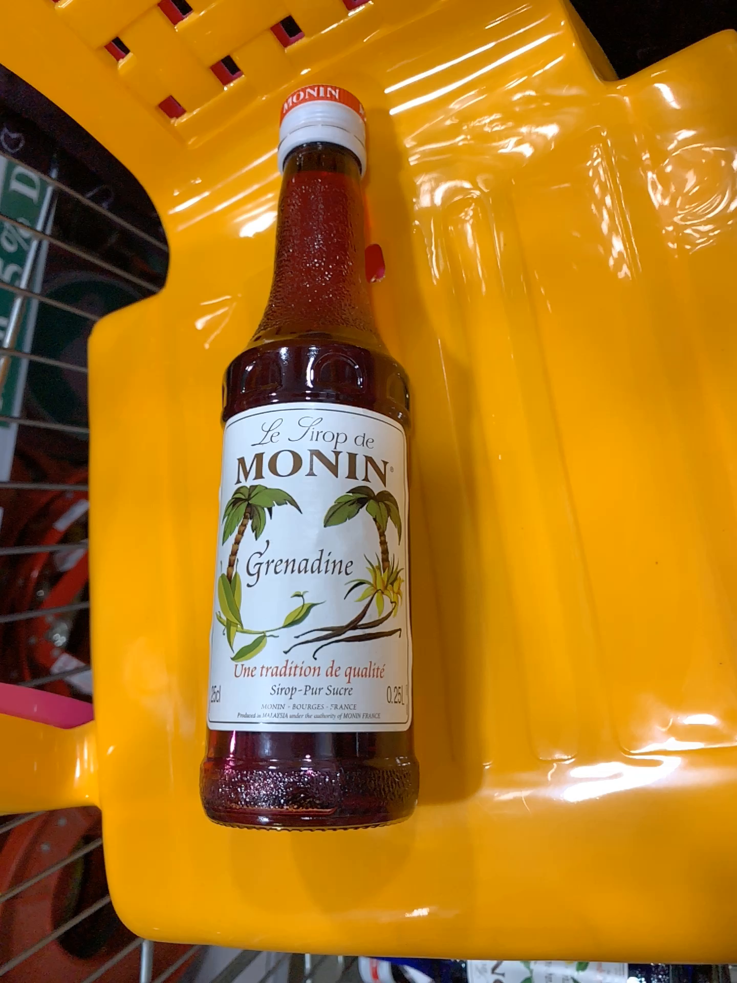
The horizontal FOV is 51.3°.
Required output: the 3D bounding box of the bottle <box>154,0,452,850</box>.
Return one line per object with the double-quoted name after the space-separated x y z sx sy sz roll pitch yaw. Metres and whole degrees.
-0.014 -0.035 0.214 0.060 0.050 0.240 2 73 -5 "bottle"
